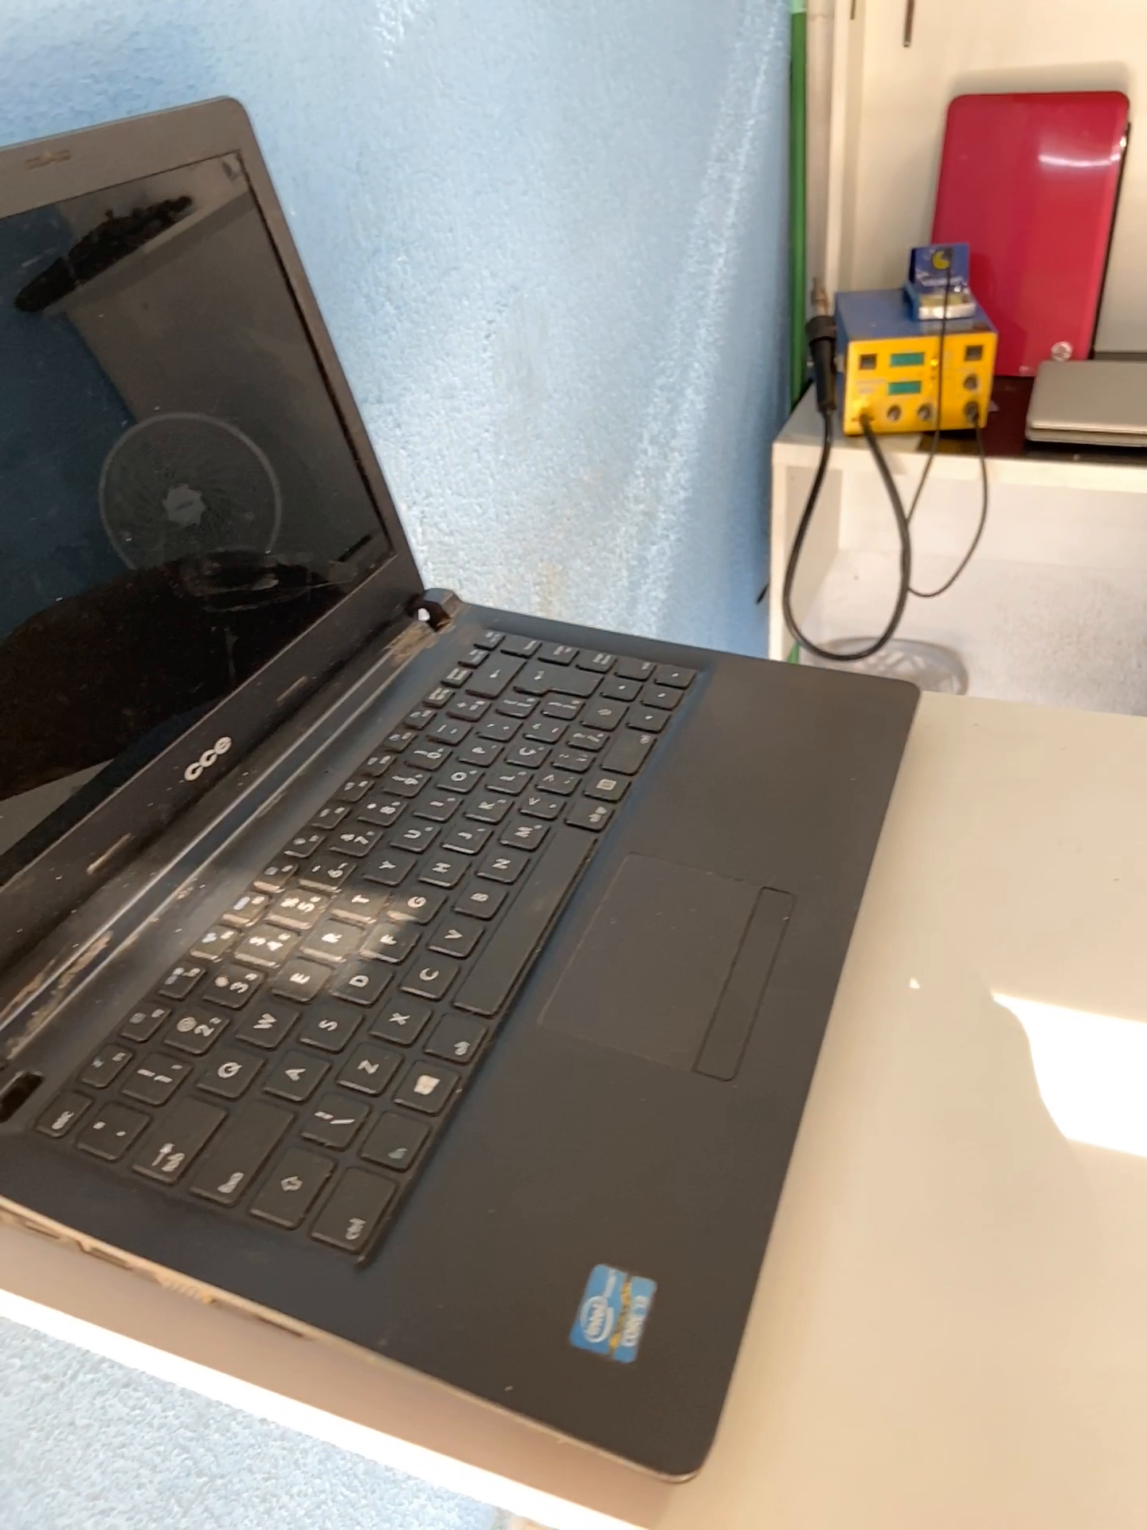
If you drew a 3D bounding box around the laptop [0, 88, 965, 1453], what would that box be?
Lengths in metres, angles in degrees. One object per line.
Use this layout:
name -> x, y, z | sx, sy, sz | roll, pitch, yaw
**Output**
laptop -> -0.068, -0.064, 0.373 | 0.312, 0.211, 0.335 | 12, 38, 18
